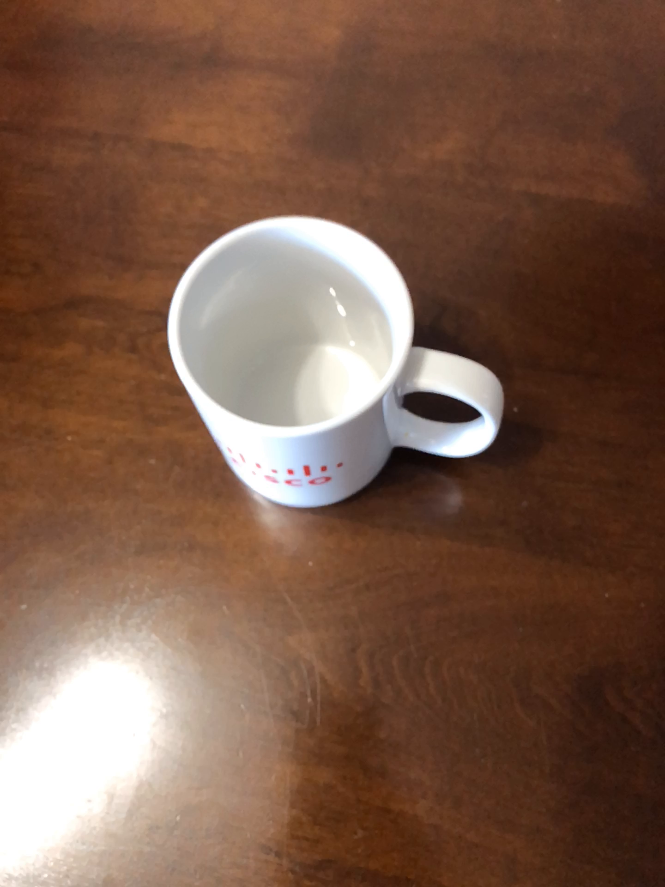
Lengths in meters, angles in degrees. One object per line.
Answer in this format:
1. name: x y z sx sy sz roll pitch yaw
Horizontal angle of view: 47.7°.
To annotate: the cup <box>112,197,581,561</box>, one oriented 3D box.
1. cup: 0.008 -0.018 0.272 0.130 0.090 0.080 10 71 6
